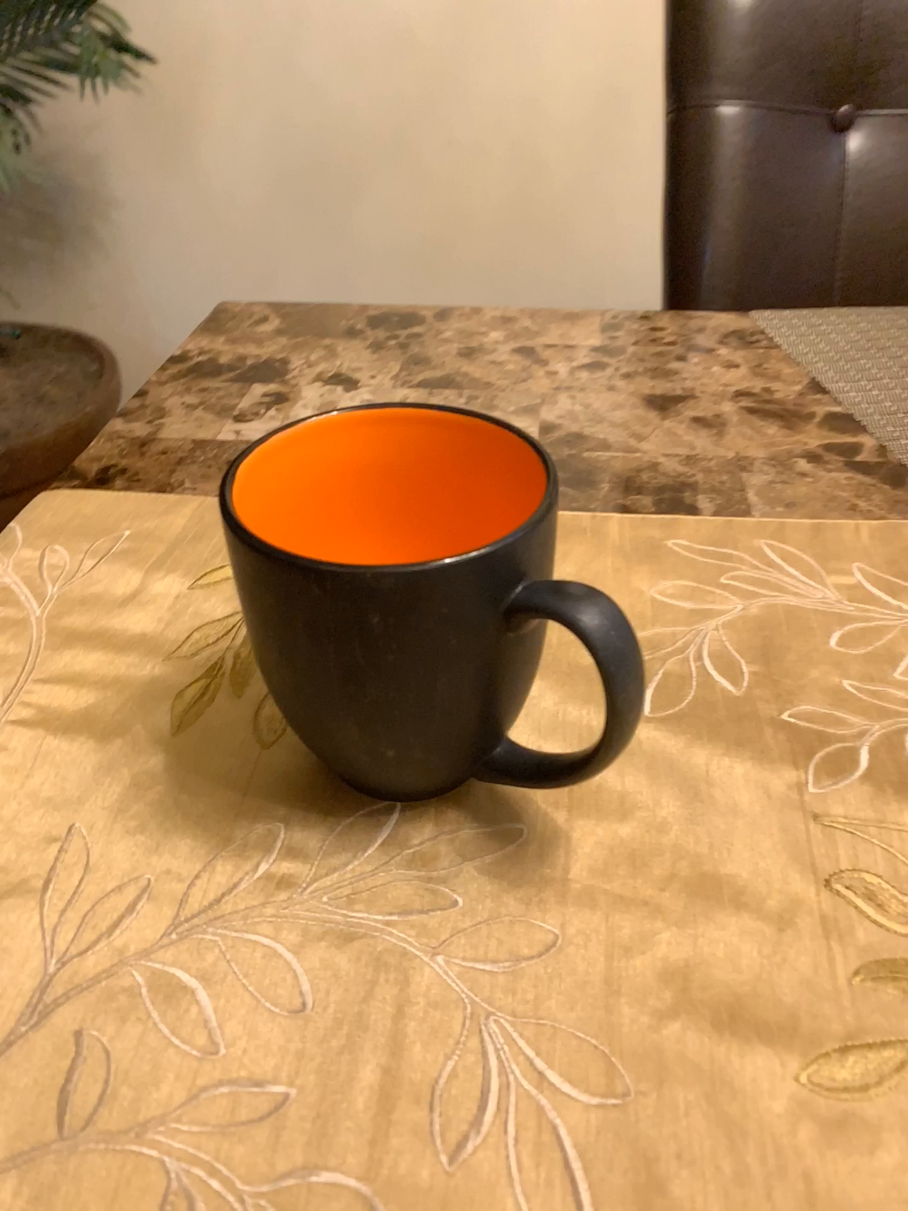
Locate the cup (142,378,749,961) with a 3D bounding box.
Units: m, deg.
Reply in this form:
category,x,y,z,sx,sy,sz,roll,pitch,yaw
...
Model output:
category,x,y,z,sx,sy,sz,roll,pitch,yaw
cup,-0.004,0.006,0.278,0.133,0.087,0.100,29,46,34
